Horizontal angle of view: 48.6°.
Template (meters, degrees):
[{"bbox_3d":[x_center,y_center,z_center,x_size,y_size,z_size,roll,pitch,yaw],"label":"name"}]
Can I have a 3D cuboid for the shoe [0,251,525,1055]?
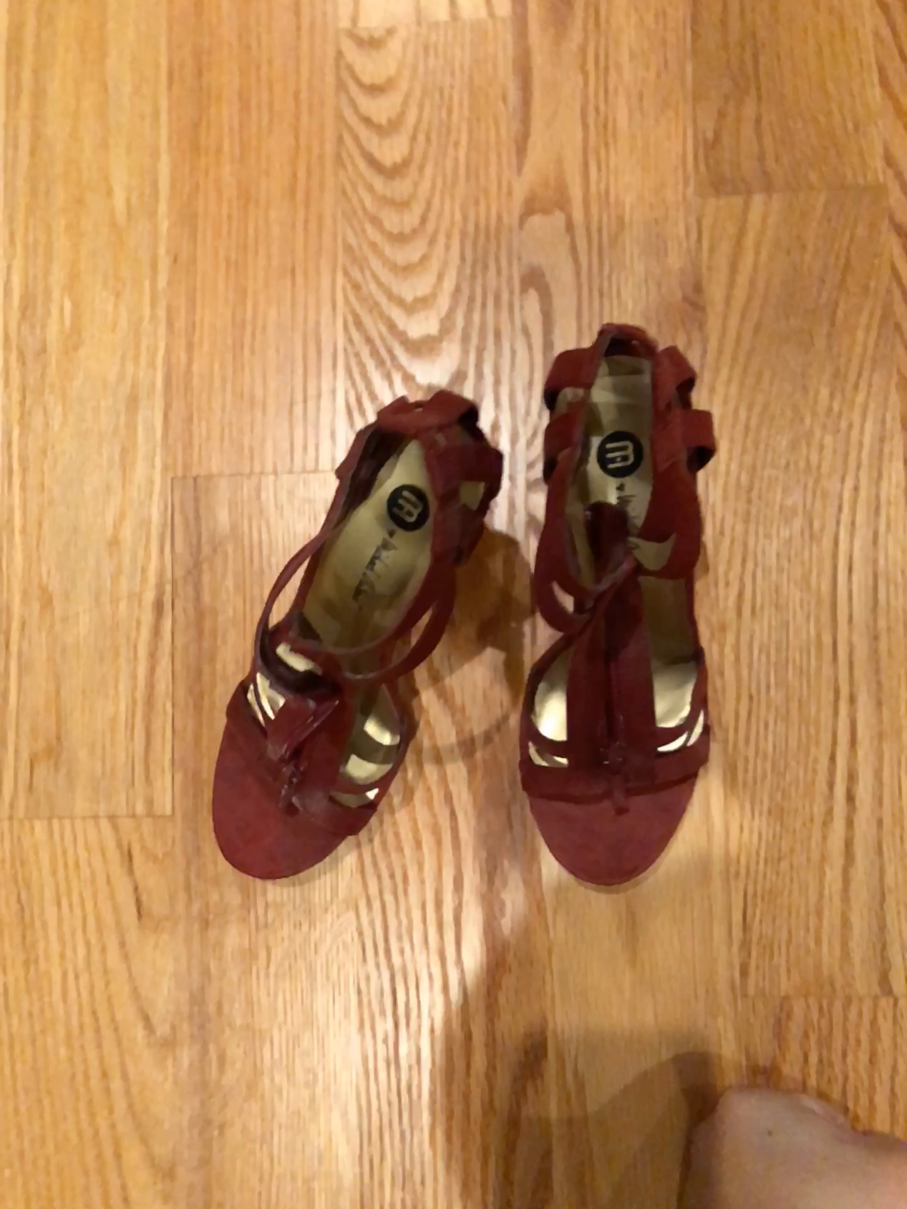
[{"bbox_3d":[-0.055,0.017,0.357,0.085,0.176,0.199,24,87,7],"label":"shoe"}]

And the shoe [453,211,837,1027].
[{"bbox_3d":[0.054,0.009,0.345,0.085,0.176,0.206,-3,84,4],"label":"shoe"}]
